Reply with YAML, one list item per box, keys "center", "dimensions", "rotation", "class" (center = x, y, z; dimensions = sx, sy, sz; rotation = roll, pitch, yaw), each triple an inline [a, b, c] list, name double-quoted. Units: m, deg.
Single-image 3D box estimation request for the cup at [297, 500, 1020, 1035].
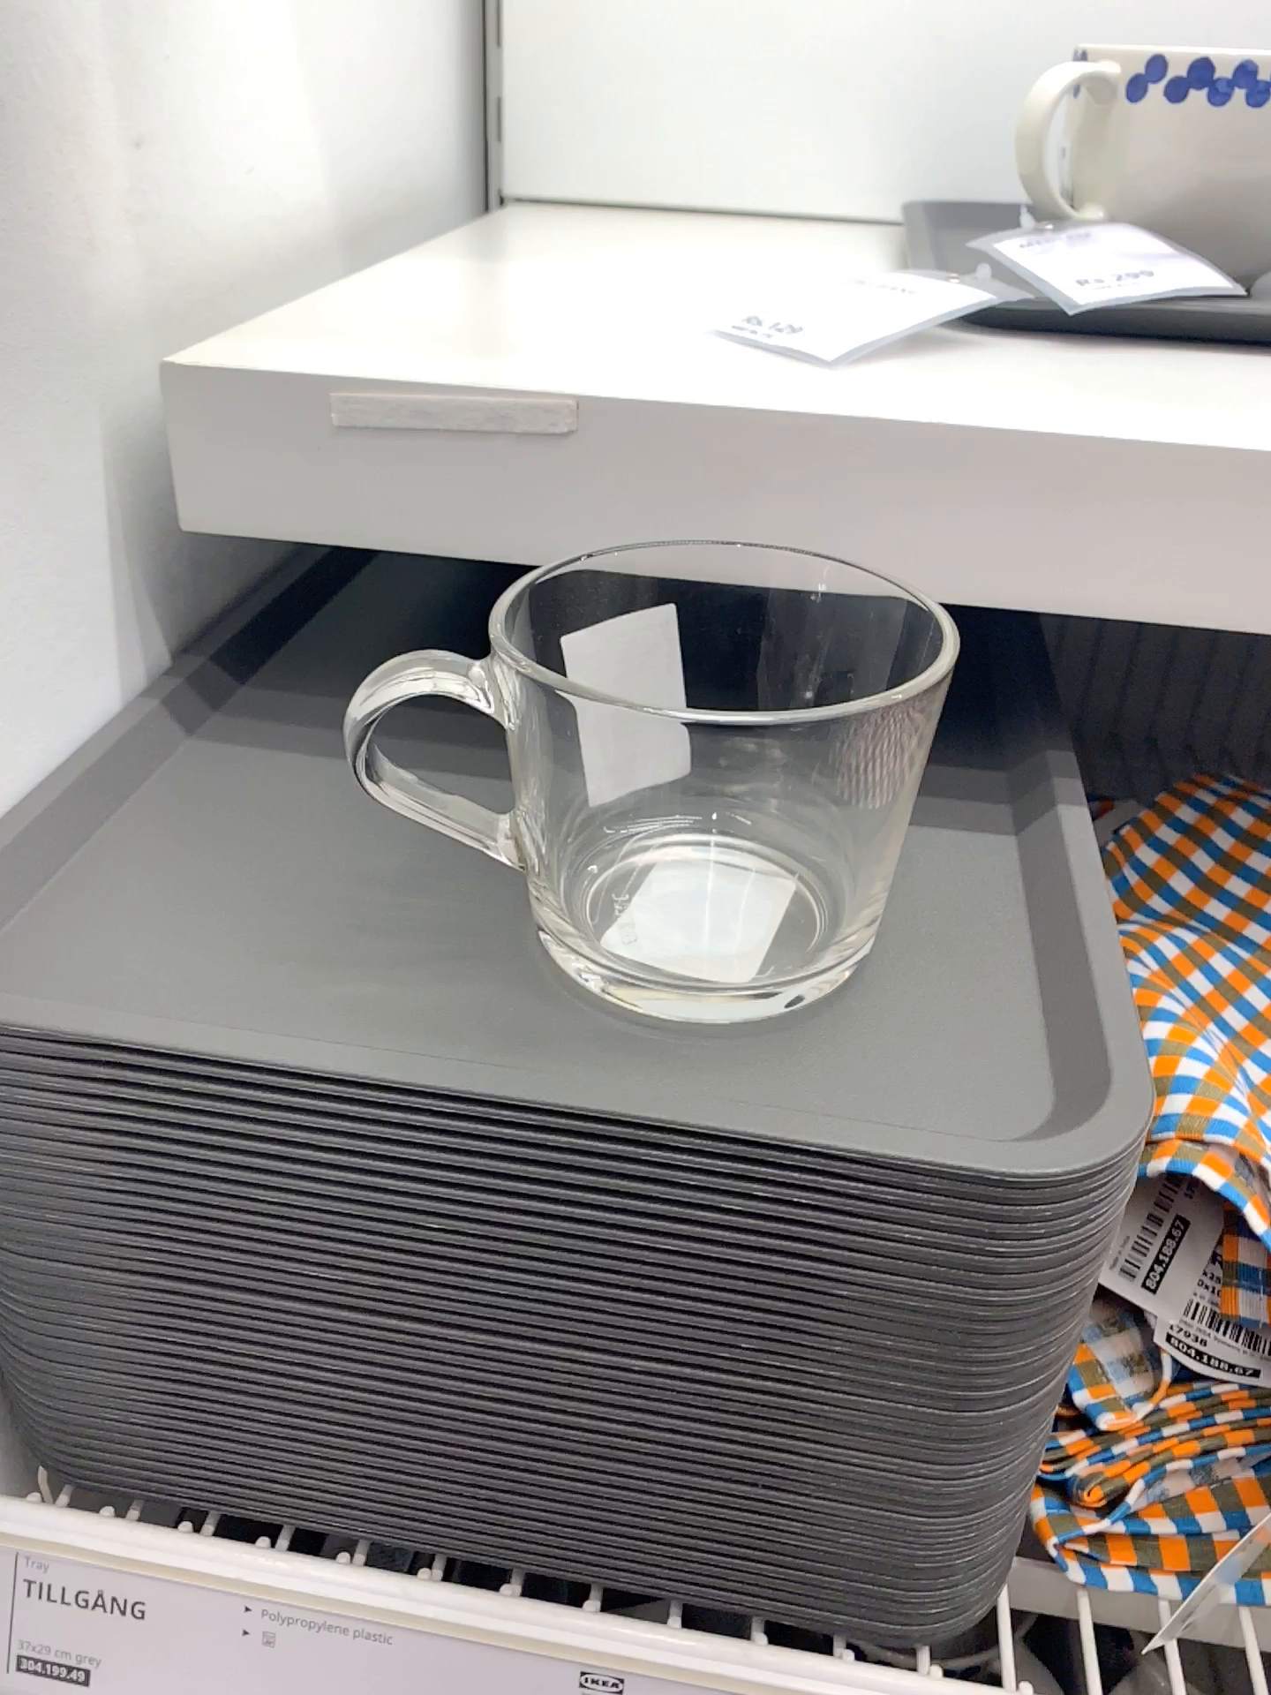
- center: [0.003, -0.023, 0.299]
  dimensions: [0.130, 0.080, 0.100]
  rotation: [2, 31, -2]
  class: "cup"
